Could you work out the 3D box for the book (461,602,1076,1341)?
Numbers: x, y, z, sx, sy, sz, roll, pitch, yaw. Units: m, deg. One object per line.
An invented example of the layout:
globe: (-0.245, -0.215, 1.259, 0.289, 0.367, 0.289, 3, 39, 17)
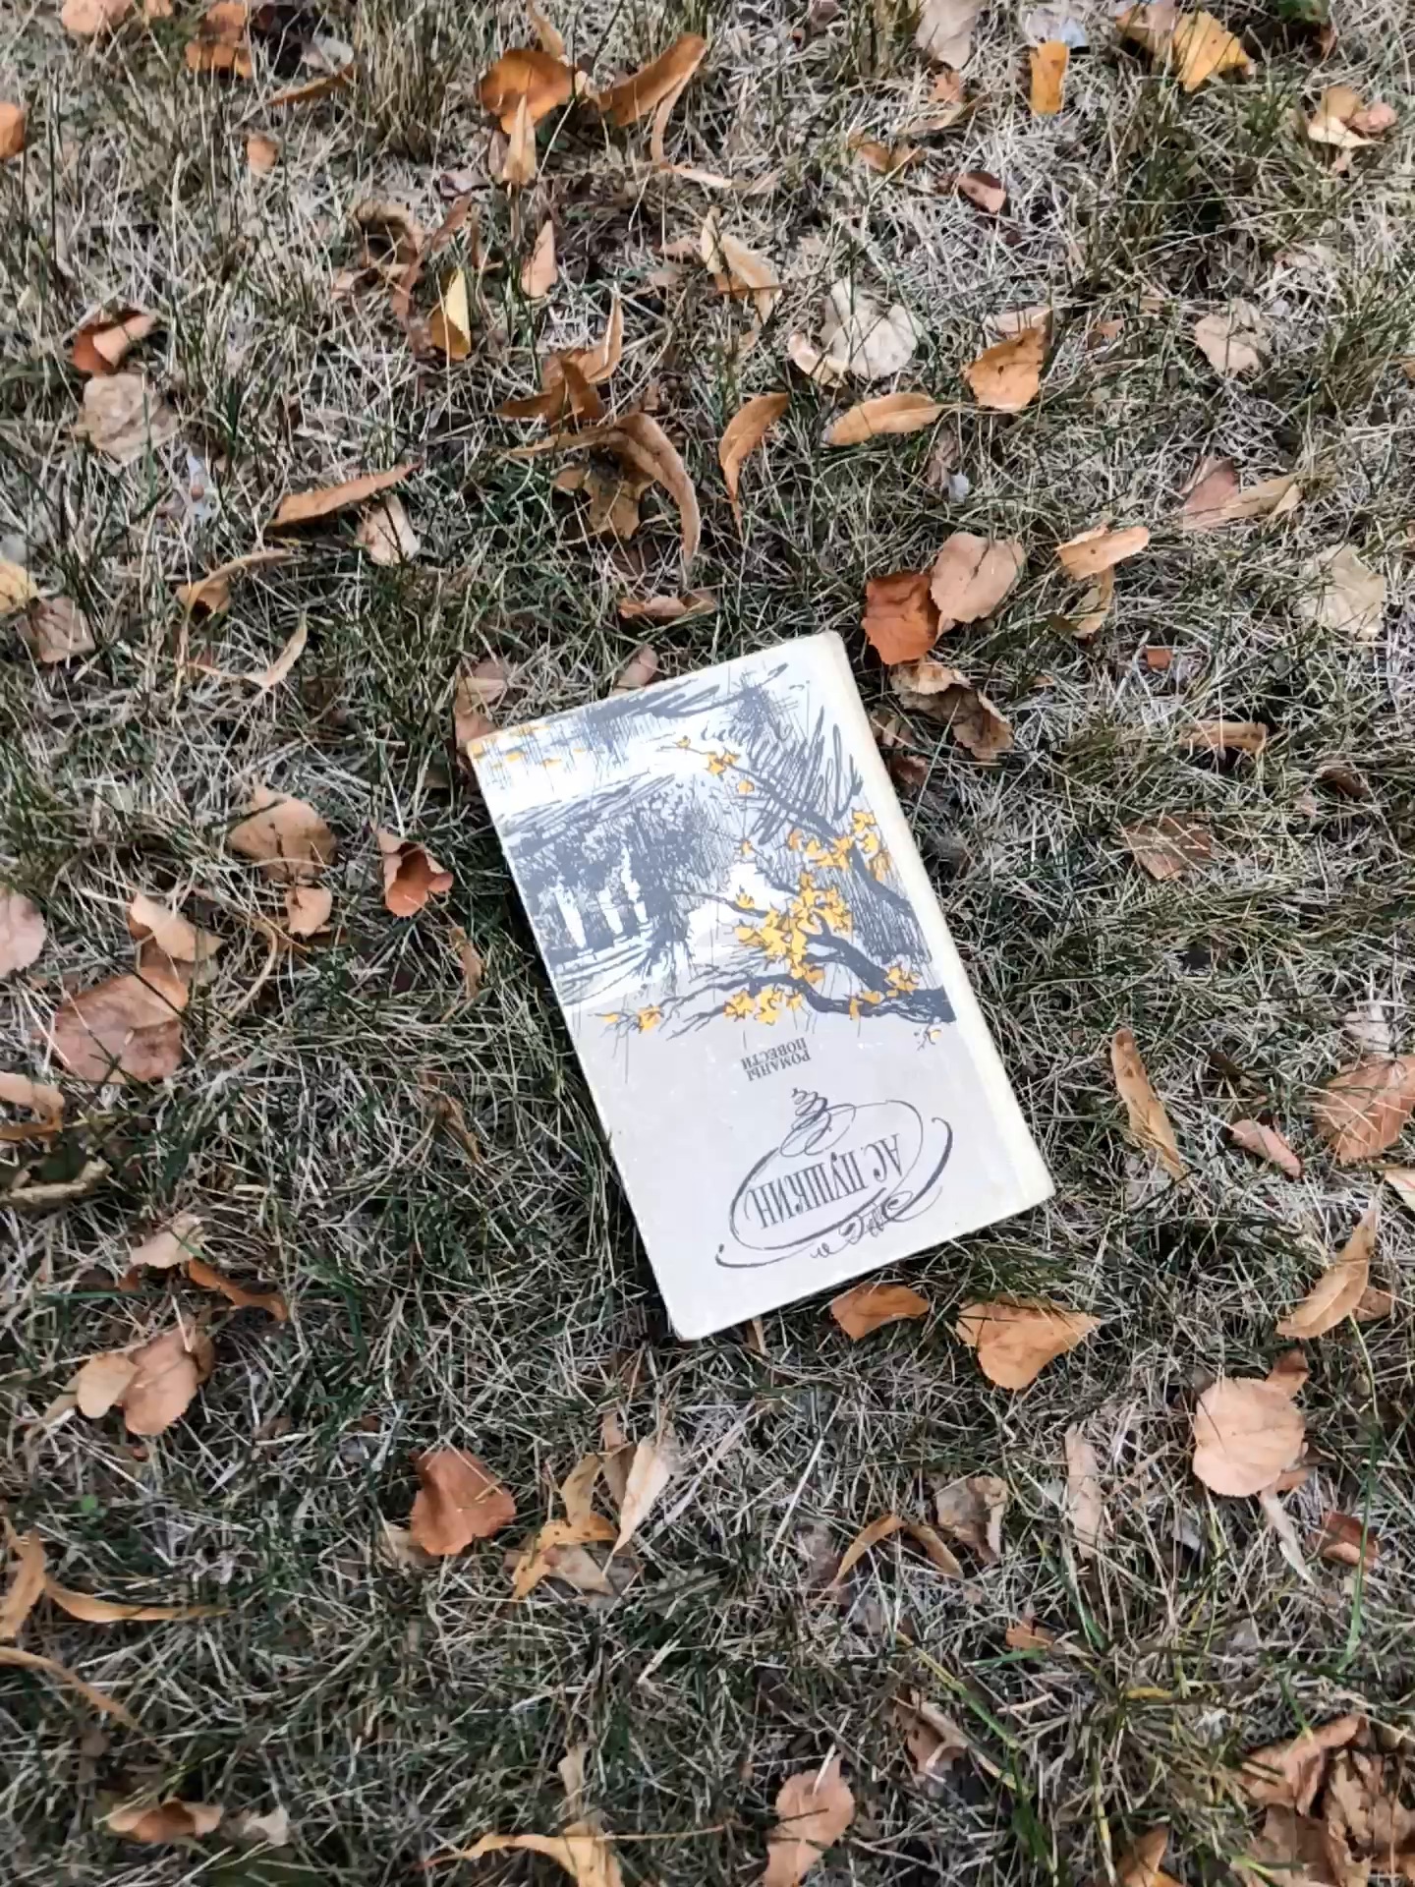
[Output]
book: (0.018, 0.005, 0.515, 0.135, 0.021, 0.210, -19, 82, -9)
